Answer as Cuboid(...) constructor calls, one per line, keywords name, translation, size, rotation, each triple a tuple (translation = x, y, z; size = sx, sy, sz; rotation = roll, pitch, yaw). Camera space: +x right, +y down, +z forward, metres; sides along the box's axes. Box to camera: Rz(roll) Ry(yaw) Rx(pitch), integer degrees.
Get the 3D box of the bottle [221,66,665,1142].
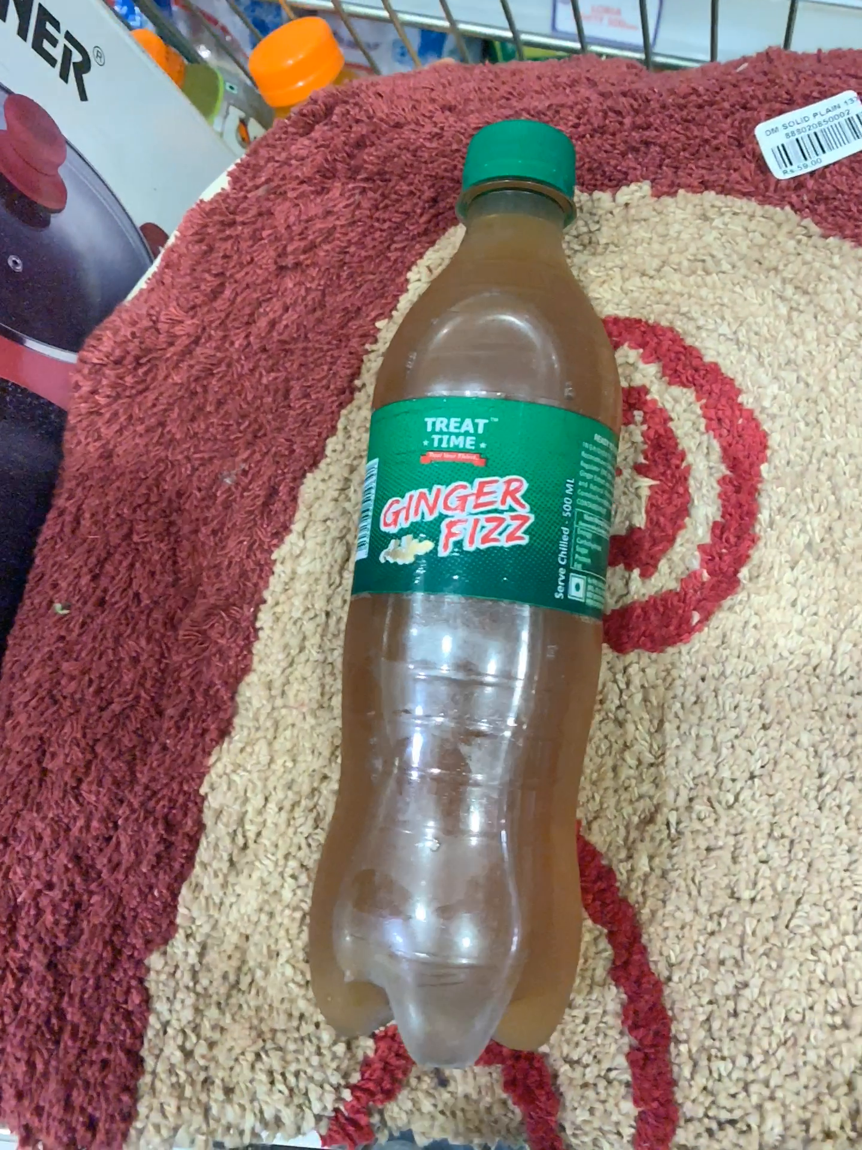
Cuboid(name="bottle", translation=(0.009, 0.001, 0.222), size=(0.070, 0.070, 0.220), rotation=(6, 86, 10))
